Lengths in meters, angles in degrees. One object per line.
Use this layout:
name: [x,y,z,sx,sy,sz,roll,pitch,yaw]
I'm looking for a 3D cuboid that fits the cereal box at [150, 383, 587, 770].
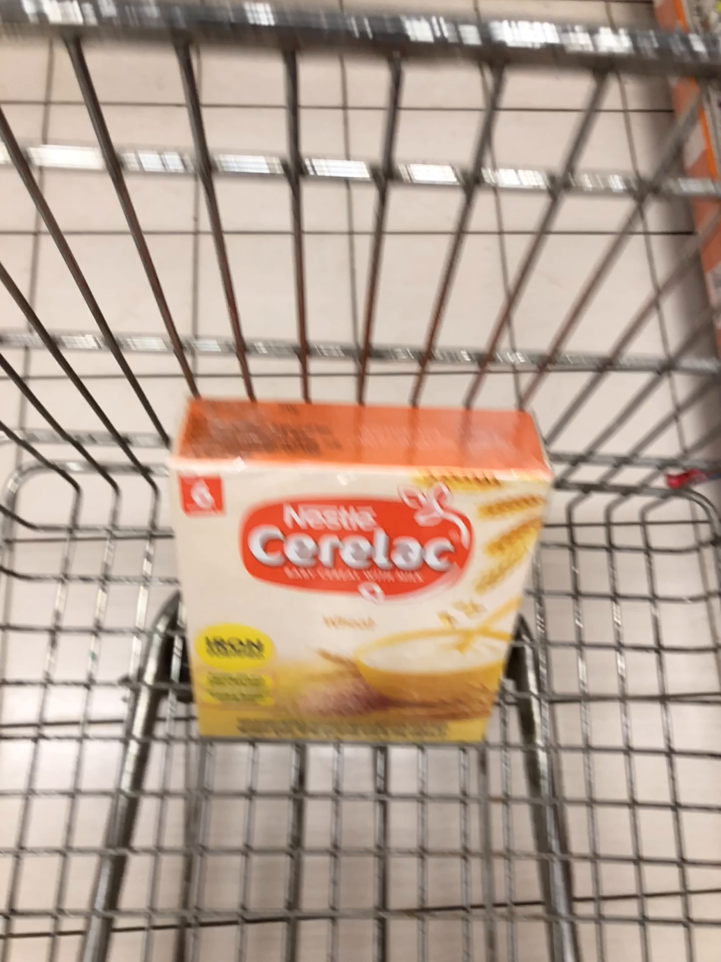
cereal box: [-0.002,0.051,0.349,0.150,0.180,0.050,2,38,-3]
